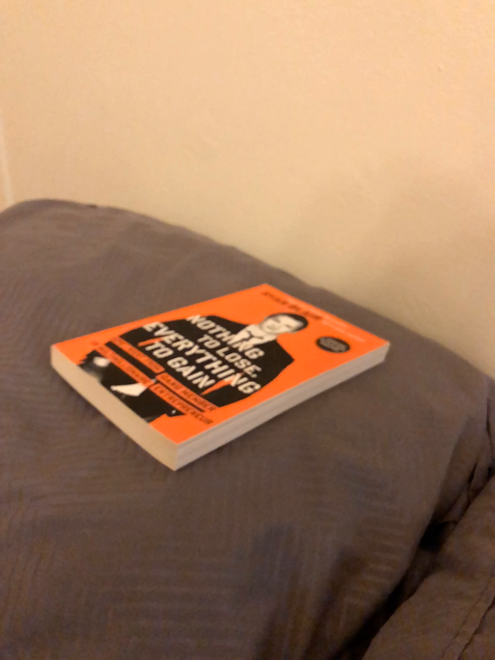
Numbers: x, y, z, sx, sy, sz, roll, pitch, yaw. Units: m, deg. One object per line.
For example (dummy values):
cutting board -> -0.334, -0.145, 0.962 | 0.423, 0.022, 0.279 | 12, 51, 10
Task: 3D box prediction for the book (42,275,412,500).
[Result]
book -> -0.005, 0.019, 0.408 | 0.231, 0.020, 0.150 | -19, 40, -41
